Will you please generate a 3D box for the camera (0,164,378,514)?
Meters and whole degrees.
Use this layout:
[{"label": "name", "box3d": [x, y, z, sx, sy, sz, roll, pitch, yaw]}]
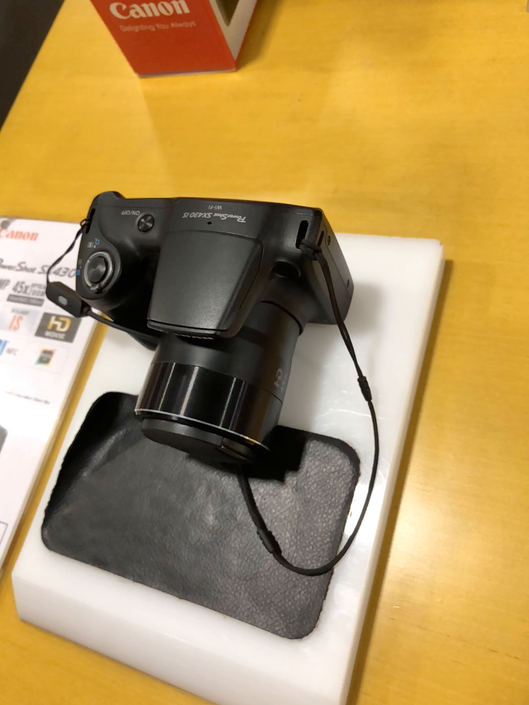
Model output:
[{"label": "camera", "box3d": [-0.028, -0.004, 0.223, 0.110, 0.090, 0.090, 9, 72, 23]}]
